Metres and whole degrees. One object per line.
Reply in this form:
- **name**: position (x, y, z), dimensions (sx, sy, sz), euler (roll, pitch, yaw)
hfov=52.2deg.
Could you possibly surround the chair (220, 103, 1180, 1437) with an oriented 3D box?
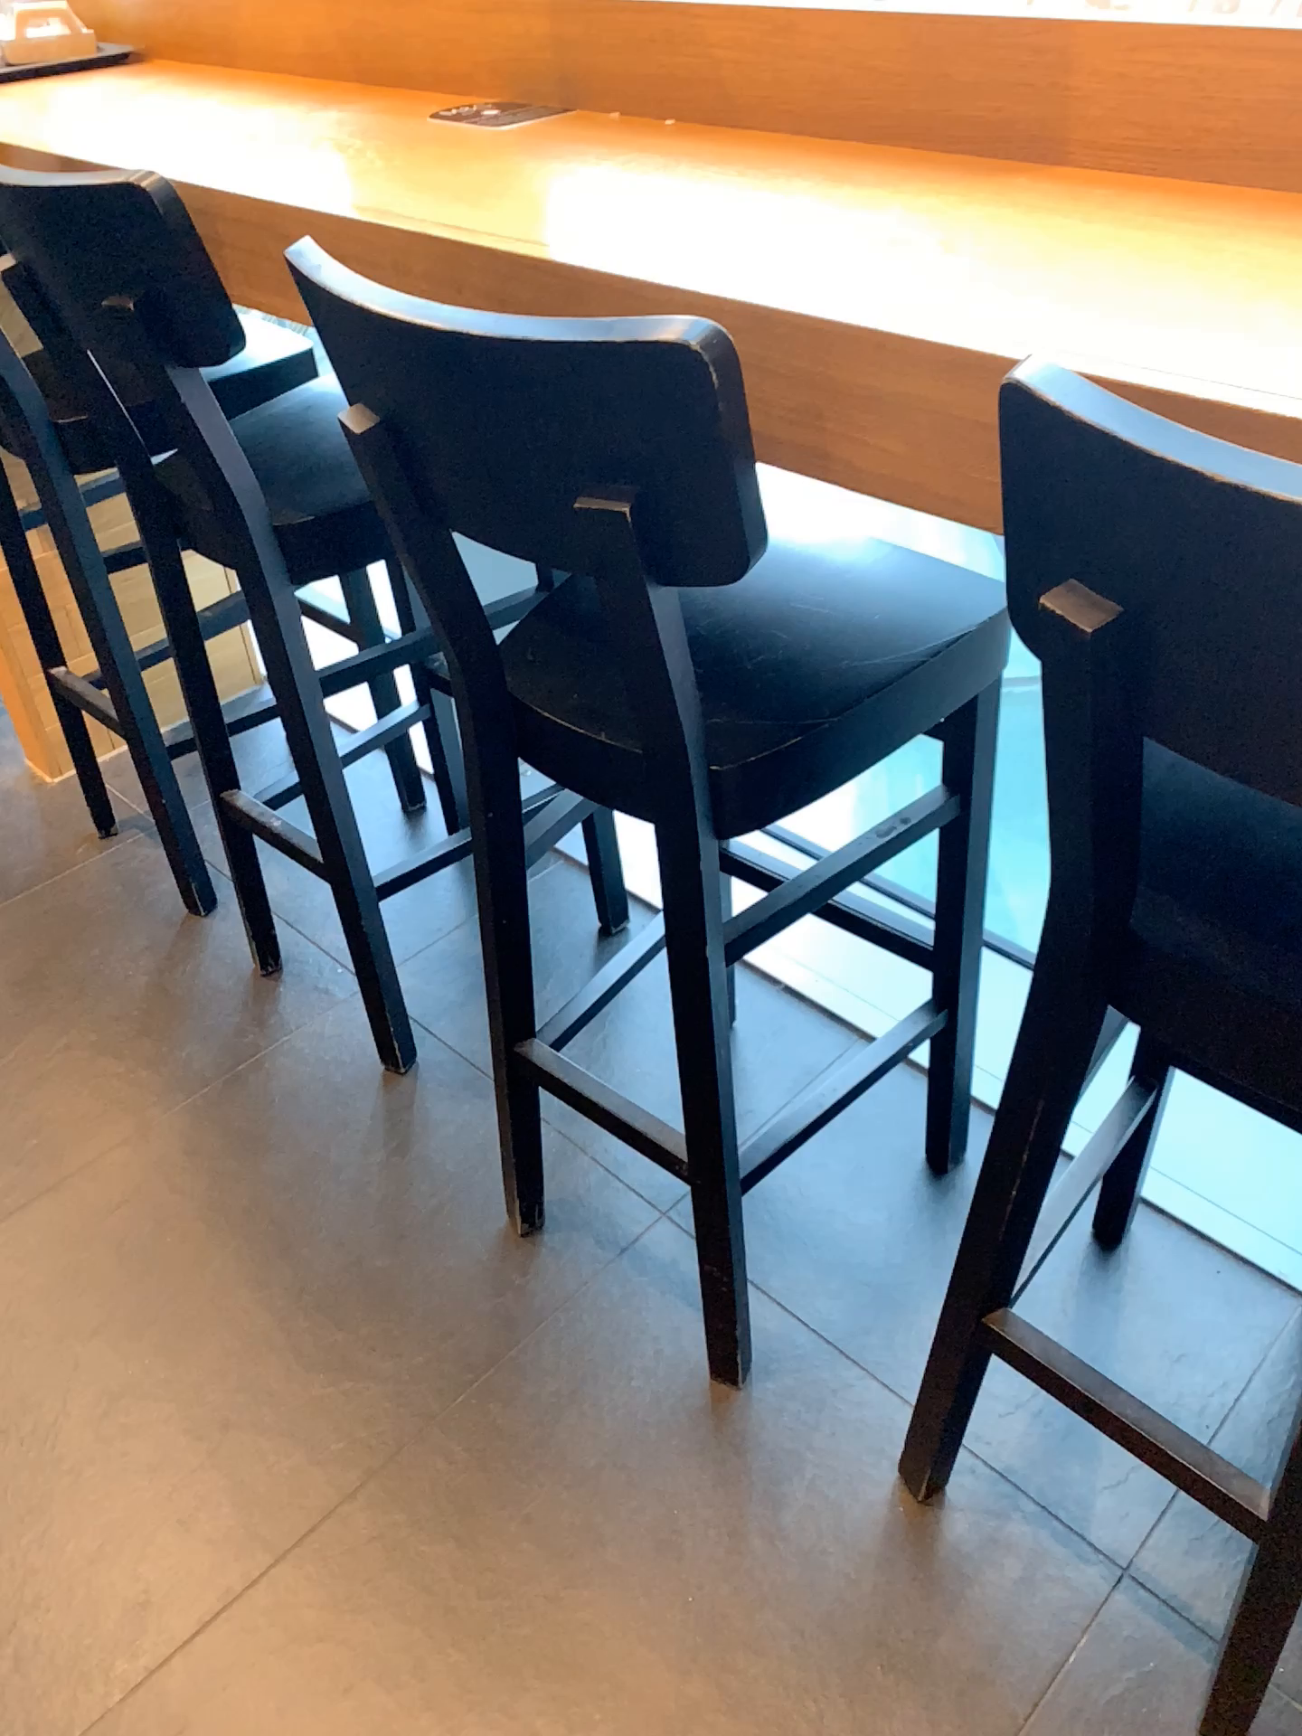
- **chair**: position (0.062, -0.065, 1.195), dimensions (0.455, 1.001, 0.462), euler (28, 48, 35)

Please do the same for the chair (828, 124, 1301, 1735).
- **chair**: position (0.440, 0.121, 0.894), dimensions (0.462, 1.001, 0.425), euler (-33, 46, -32)

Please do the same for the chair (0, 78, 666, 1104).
- **chair**: position (-0.311, -0.298, 1.548), dimensions (0.462, 1.001, 0.395), euler (-31, 45, -31)
